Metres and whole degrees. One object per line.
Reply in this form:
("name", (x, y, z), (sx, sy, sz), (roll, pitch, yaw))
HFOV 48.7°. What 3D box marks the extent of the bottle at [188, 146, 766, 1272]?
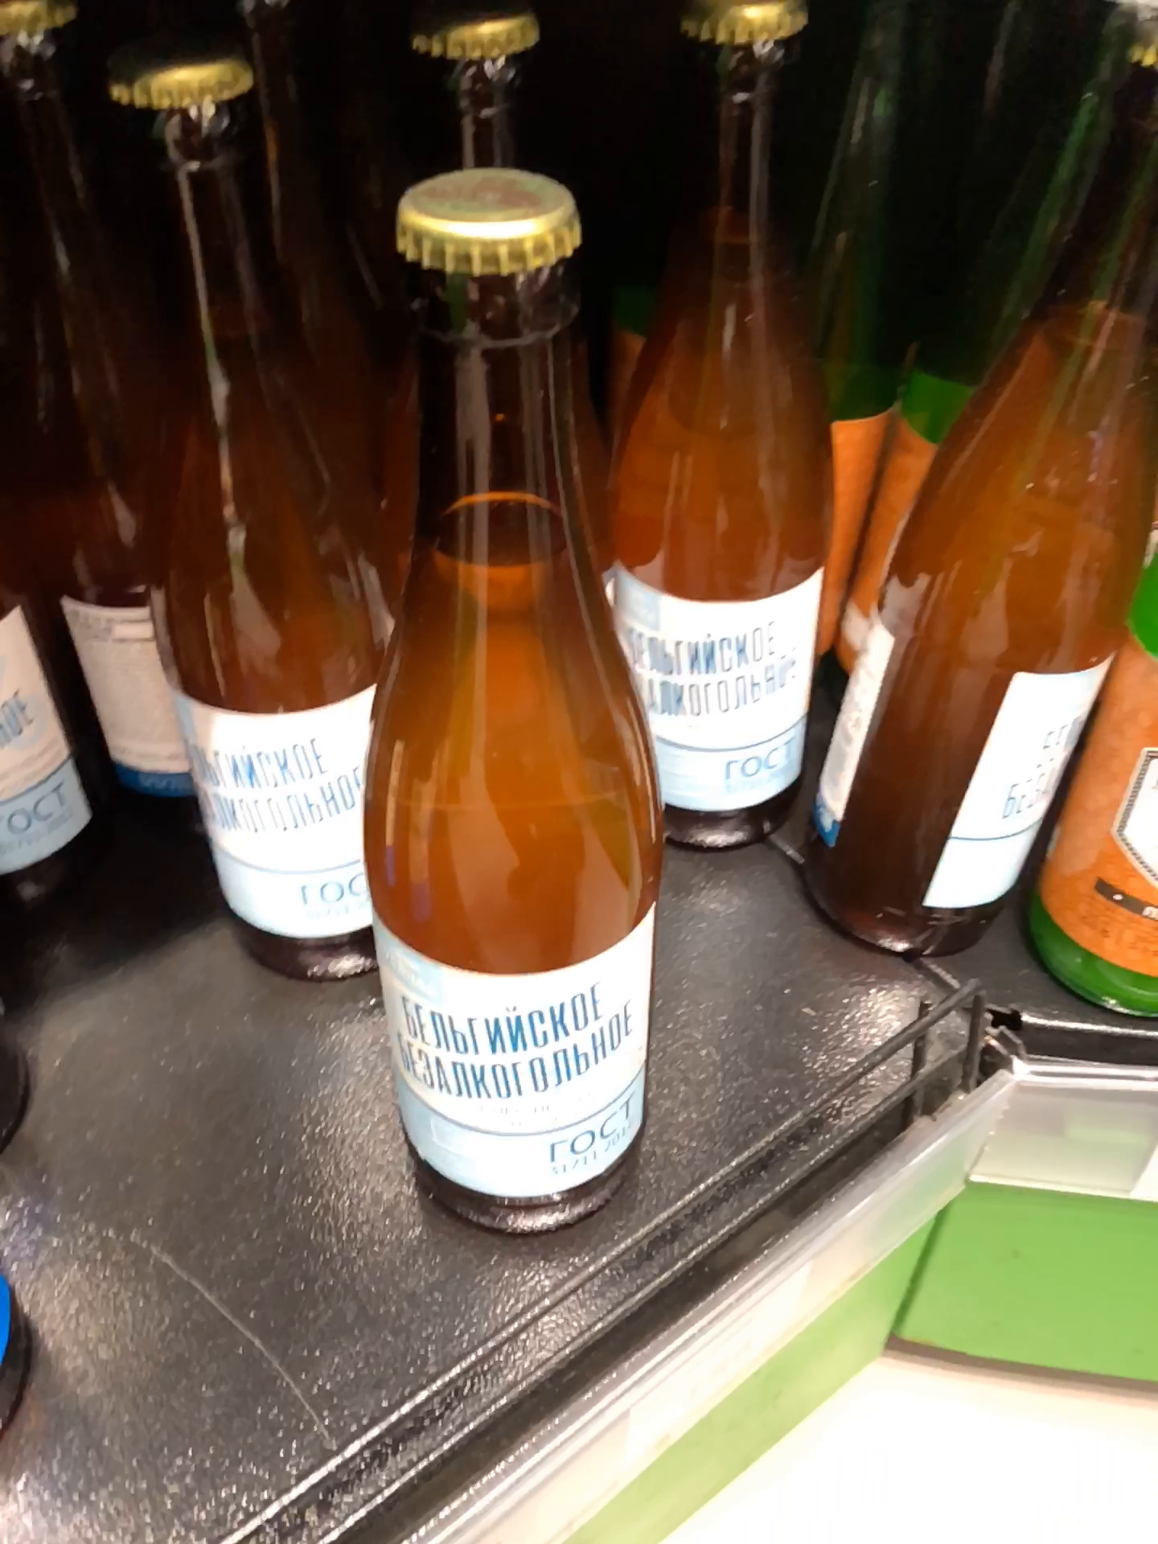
("bottle", (-0.012, 0.009, 0.290), (0.080, 0.255, 0.080), (1, 42, -1))
